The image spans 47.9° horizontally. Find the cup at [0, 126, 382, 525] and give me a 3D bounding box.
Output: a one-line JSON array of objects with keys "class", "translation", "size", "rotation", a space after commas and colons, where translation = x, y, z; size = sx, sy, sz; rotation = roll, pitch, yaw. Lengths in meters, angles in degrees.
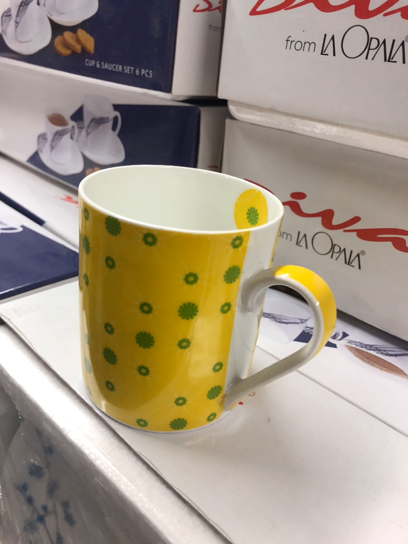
[{"class": "cup", "translation": [-0.009, 0.004, 0.152], "size": [0.090, 0.080, 0.070], "rotation": [27, 34, 34]}]
